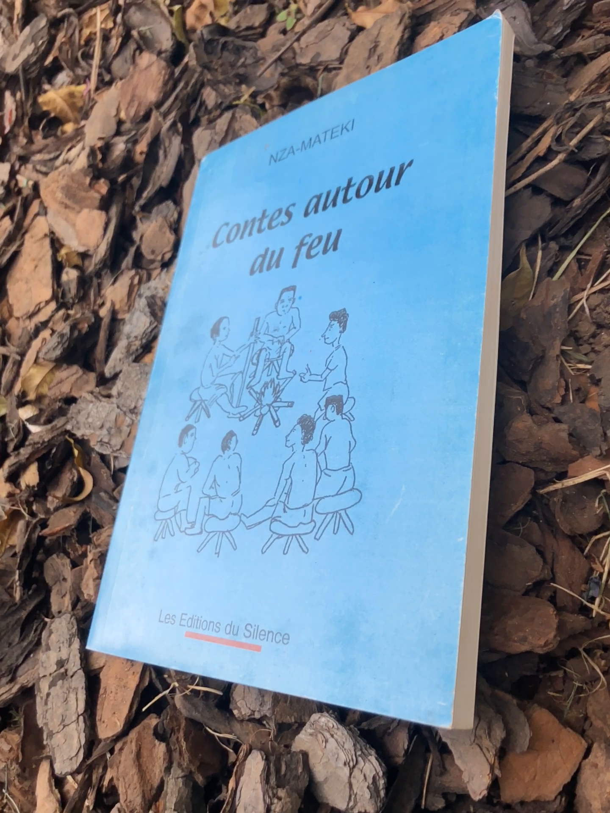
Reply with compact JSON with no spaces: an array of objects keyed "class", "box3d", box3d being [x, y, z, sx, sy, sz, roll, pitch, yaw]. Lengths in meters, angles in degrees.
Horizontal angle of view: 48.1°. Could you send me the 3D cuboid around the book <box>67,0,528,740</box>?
[{"class":"book","box3d":[-0.005,-0.018,0.222,0.144,0.015,0.202,-7,66,40]}]
